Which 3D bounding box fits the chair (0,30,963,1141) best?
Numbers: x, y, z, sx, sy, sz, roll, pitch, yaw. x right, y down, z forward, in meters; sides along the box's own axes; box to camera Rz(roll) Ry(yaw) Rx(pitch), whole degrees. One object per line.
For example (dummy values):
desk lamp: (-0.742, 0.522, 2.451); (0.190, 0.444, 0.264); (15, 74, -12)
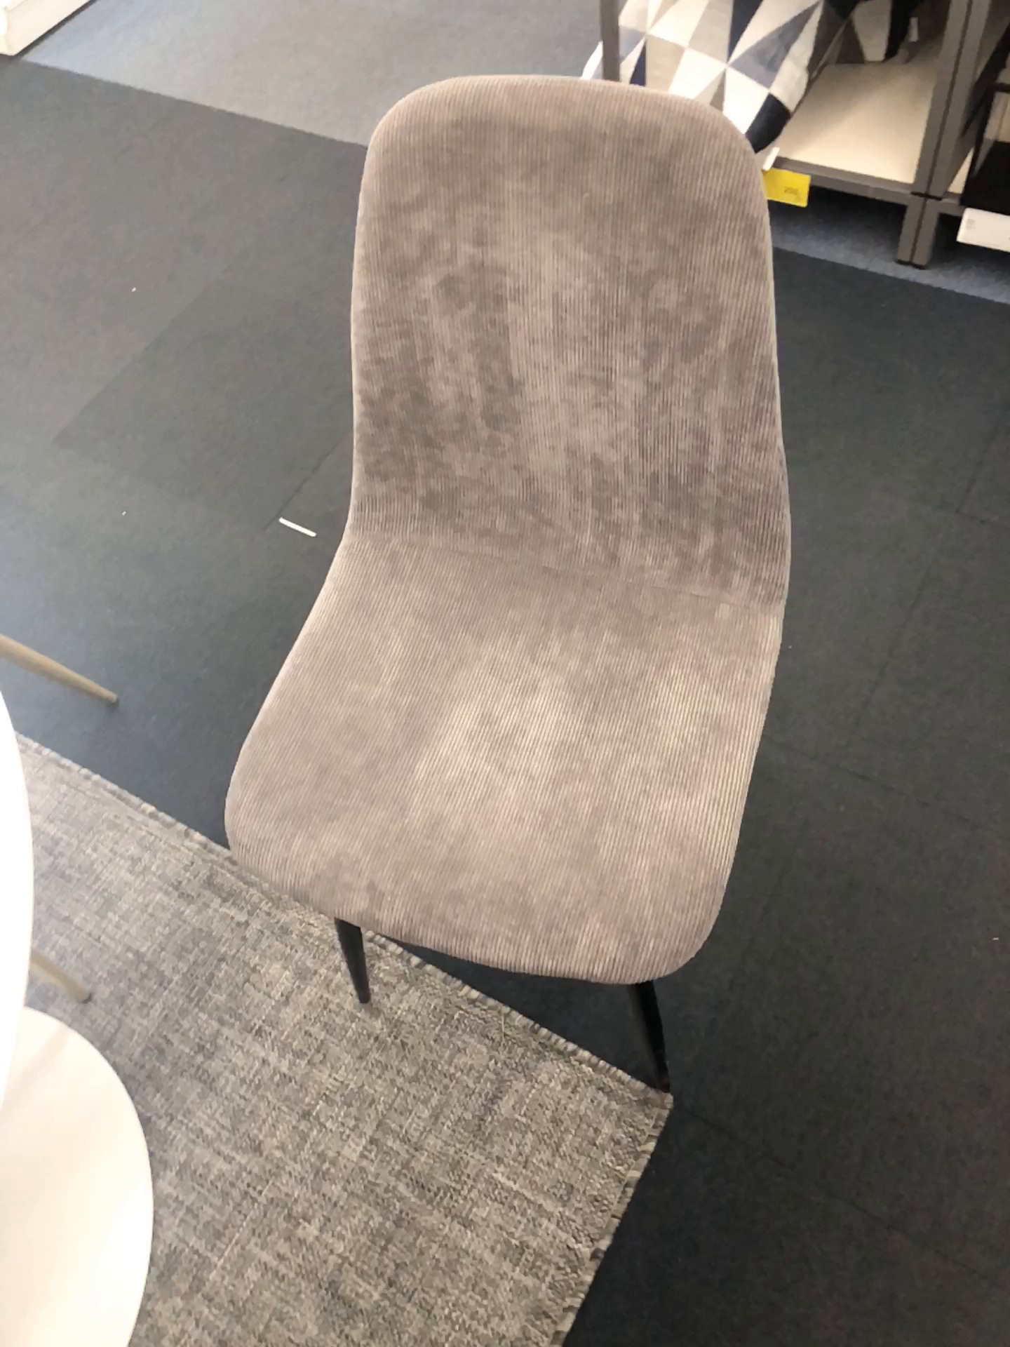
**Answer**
chair: (-0.005, -0.024, 1.056); (0.580, 0.808, 0.581); (14, 60, 15)
